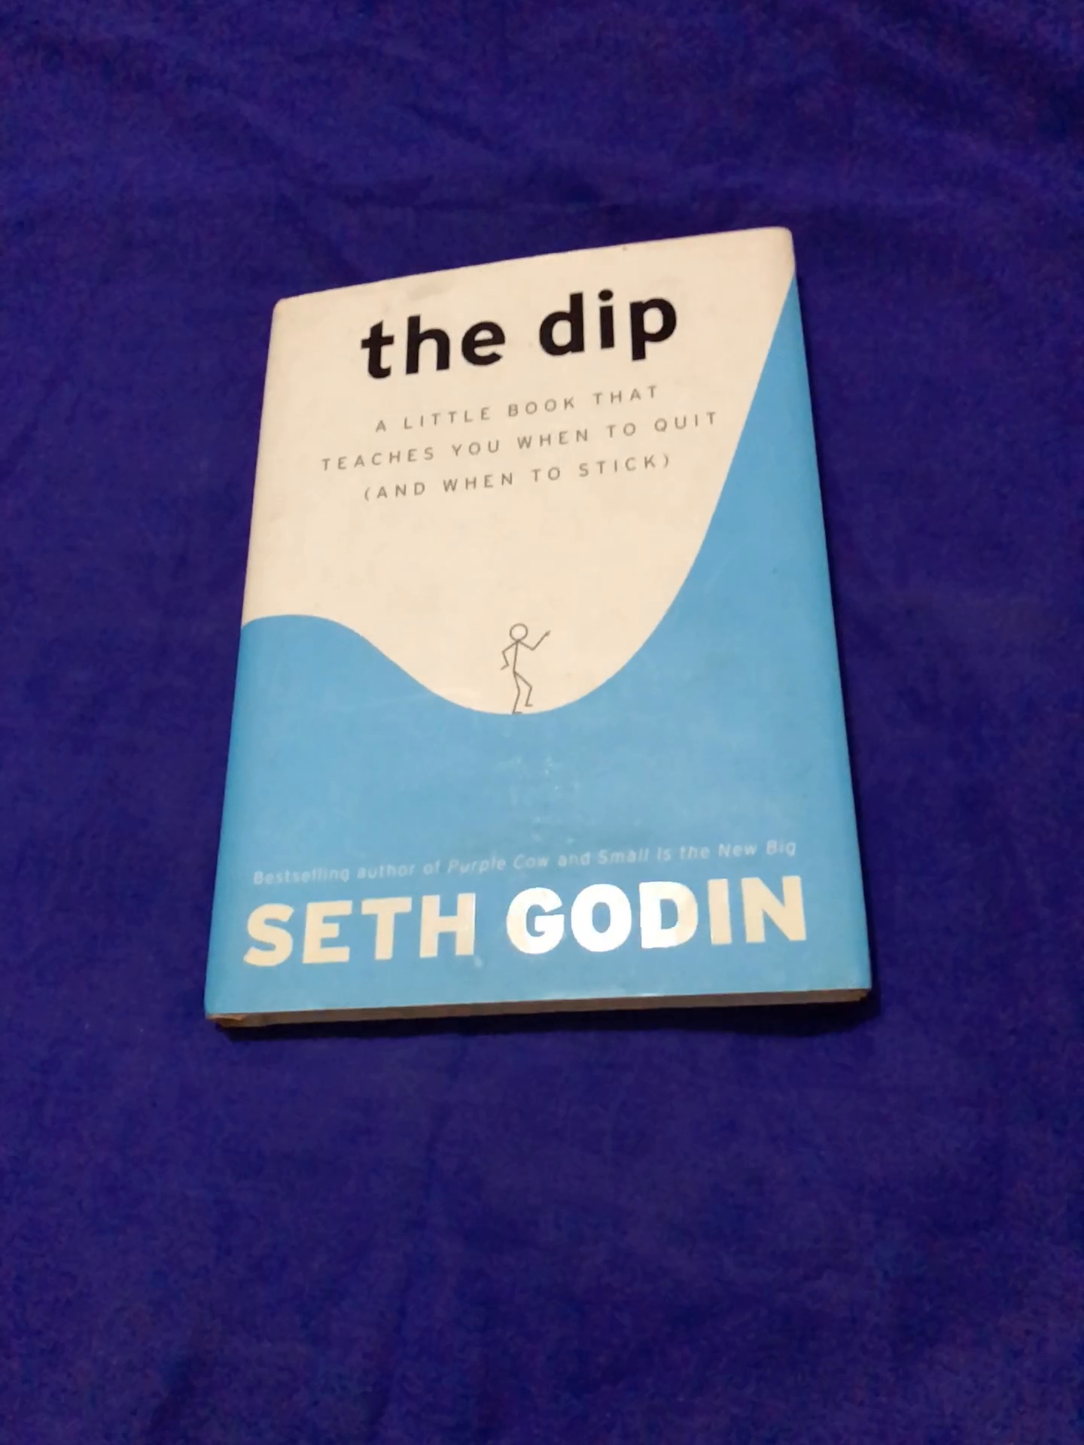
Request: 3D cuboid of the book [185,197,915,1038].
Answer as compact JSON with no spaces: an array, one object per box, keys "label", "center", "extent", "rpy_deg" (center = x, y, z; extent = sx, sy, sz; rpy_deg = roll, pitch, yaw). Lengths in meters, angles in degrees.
[{"label":"book","center":[-0.002,-0.030,0.276],"extent":[0.140,0.020,0.190],"rpy_deg":[-5,66,9]}]
